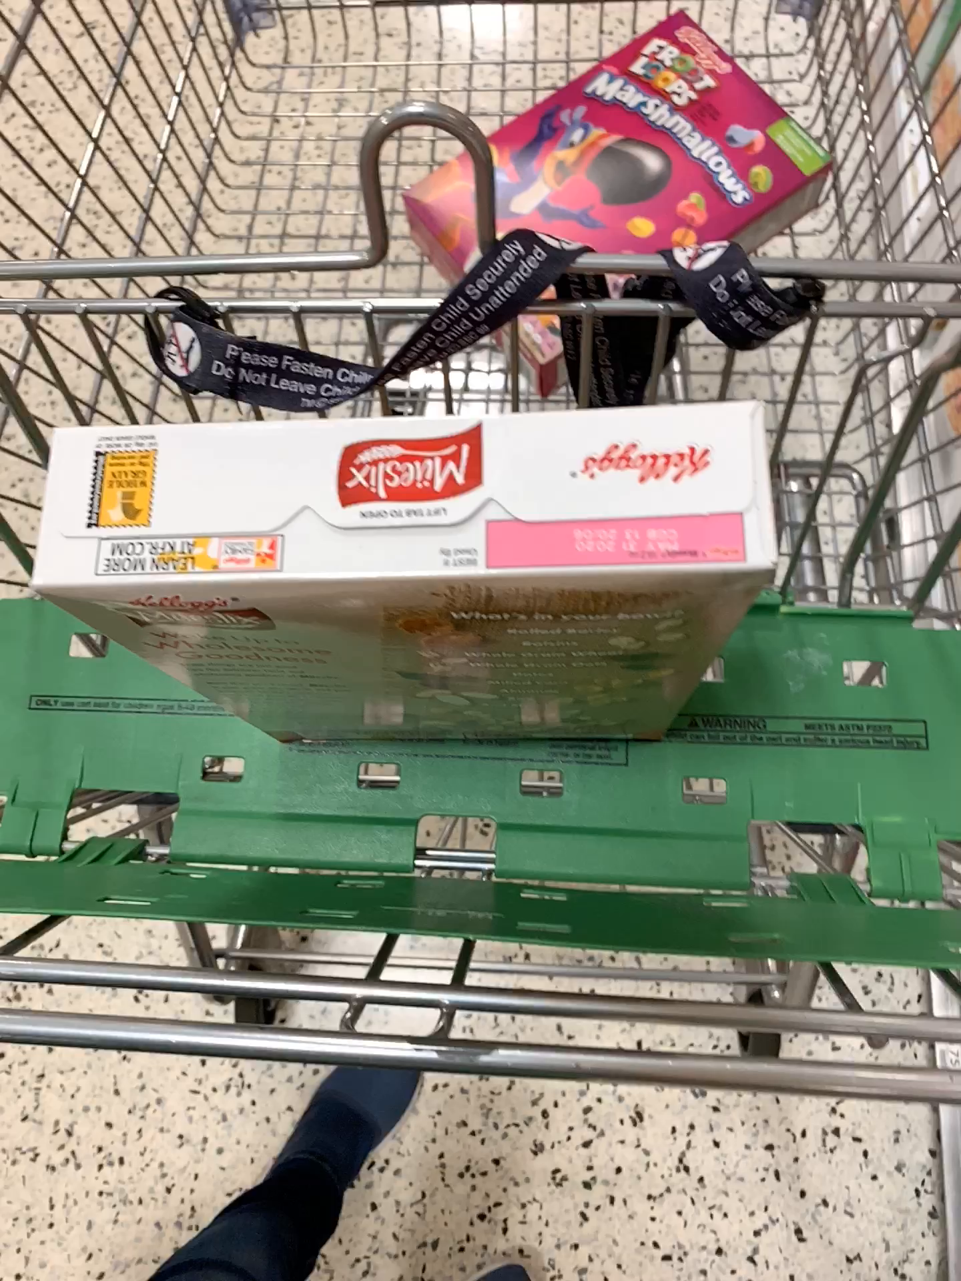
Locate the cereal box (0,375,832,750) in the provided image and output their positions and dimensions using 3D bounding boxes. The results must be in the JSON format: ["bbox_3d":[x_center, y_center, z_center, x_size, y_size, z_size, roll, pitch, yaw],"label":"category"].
[{"bbox_3d":[-0.009,-0.006,0.351,0.190,0.249,0.050,0,75,4],"label":"cereal box"}]
